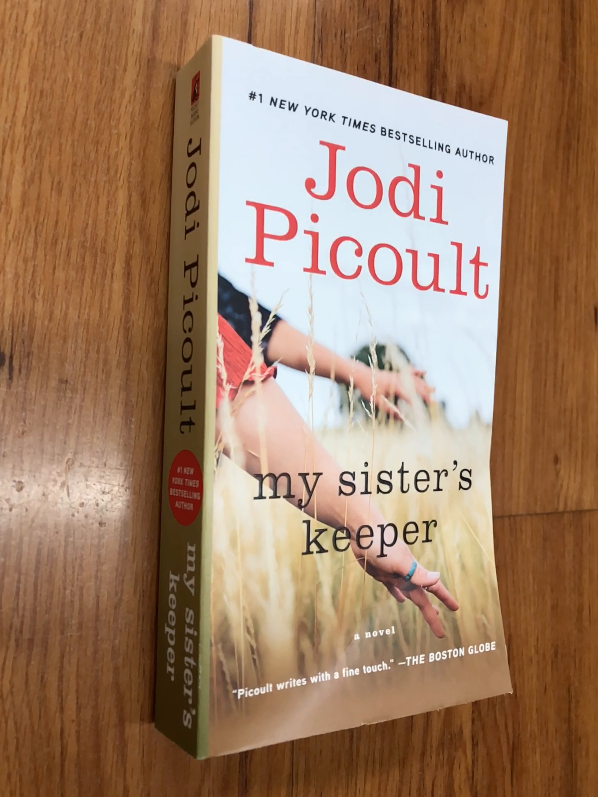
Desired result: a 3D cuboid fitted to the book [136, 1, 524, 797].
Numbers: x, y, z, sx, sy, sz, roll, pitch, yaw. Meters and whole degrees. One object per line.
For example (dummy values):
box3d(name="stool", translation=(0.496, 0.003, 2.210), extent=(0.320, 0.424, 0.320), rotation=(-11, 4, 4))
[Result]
box3d(name="book", translation=(0.014, 0.000, 0.203), extent=(0.110, 0.040, 0.190), rotation=(3, 87, -30))
